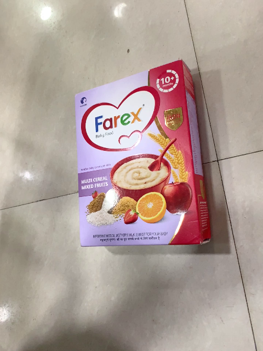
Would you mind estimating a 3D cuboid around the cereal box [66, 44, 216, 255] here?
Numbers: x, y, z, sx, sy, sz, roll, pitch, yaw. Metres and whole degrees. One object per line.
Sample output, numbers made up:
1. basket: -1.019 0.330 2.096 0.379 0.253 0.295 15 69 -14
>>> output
1. cereal box: 0.006 -0.019 0.322 0.150 0.060 0.210 -8 81 25
